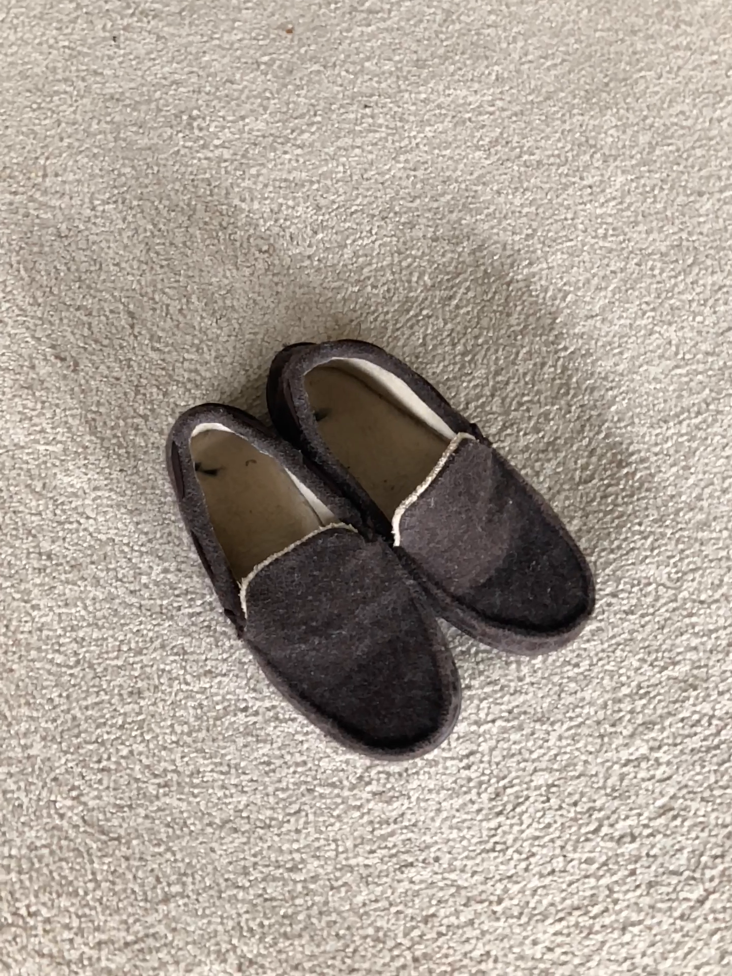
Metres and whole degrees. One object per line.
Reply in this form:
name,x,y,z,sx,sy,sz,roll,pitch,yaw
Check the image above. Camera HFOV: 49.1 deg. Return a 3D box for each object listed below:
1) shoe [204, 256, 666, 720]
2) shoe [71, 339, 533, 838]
shoe,0.040,0.001,0.574,0.119,0.096,0.316,-42,82,-11
shoe,-0.046,0.064,0.560,0.120,0.096,0.317,-40,81,-10
